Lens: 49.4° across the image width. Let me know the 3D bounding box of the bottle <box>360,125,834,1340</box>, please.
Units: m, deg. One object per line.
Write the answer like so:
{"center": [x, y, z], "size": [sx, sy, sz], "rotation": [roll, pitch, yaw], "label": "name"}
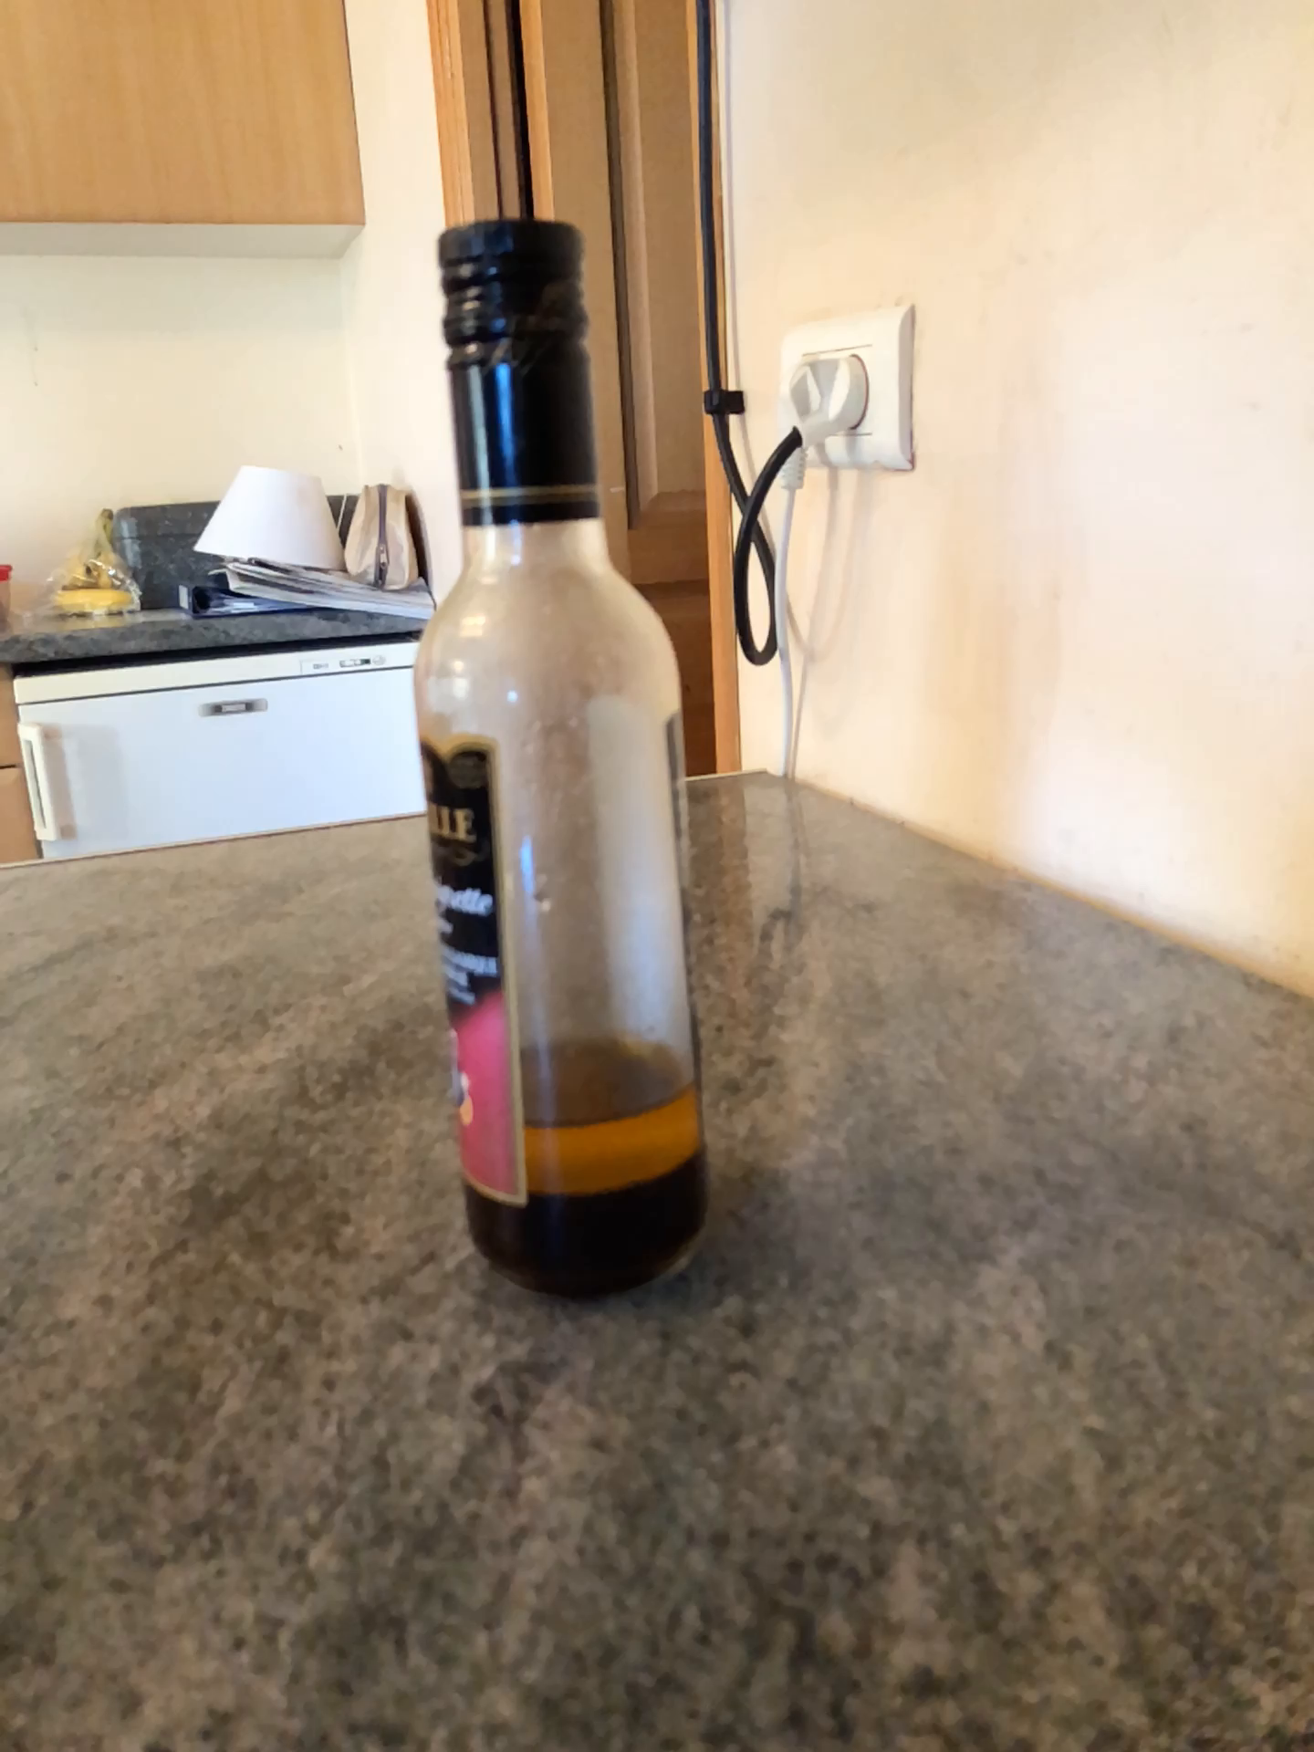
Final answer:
{"center": [-0.012, -0.028, 0.313], "size": [0.070, 0.229, 0.070], "rotation": [-3, 14, 1], "label": "bottle"}
